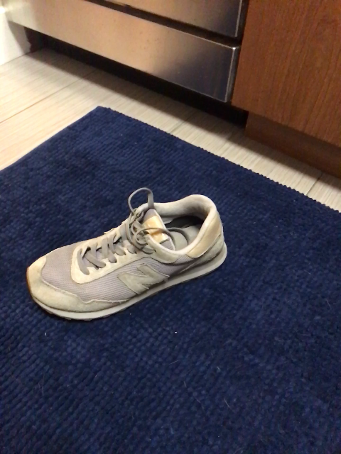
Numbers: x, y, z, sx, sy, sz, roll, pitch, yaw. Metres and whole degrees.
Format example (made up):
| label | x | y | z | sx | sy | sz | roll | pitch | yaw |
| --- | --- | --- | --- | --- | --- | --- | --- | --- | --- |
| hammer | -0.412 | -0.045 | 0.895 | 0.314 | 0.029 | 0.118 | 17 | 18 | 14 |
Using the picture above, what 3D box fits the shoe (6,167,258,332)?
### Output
| label | x | y | z | sx | sy | sz | roll | pitch | yaw |
| --- | --- | --- | --- | --- | --- | --- | --- | --- | --- |
| shoe | -0.052 | 0.022 | 0.484 | 0.280 | 0.099 | 0.131 | -11 | 50 | -11 |
